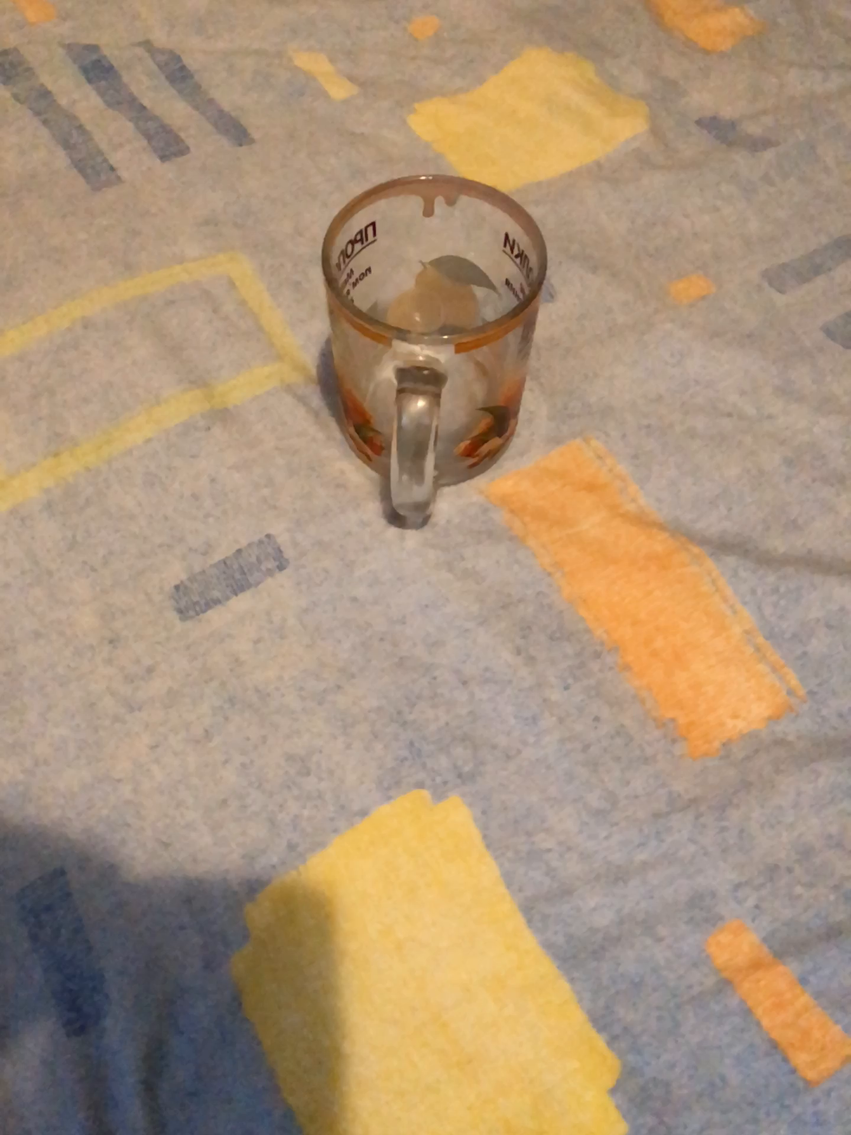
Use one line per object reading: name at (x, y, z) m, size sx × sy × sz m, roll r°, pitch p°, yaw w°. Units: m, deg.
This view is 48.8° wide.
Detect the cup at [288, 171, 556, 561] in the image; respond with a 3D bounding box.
cup at (-0.001, -0.074, 0.361) m, size 0.084 × 0.092 × 0.110 m, roll 2°, pitch 61°, yaw -1°
